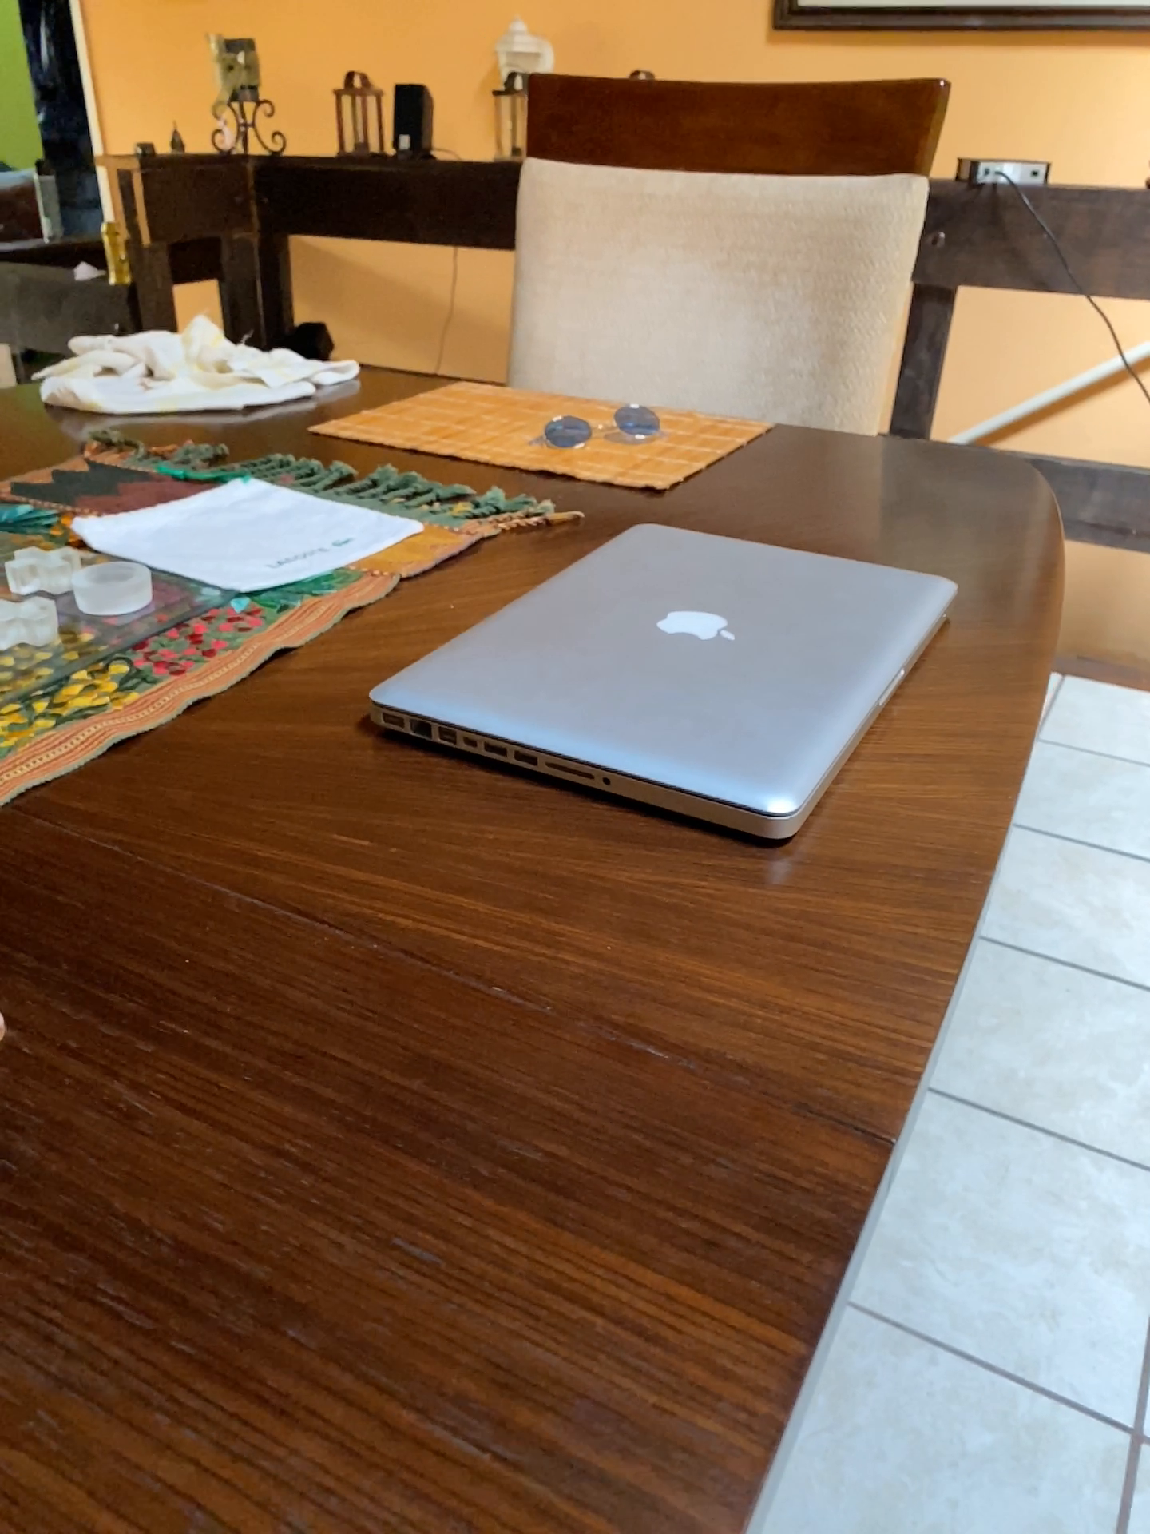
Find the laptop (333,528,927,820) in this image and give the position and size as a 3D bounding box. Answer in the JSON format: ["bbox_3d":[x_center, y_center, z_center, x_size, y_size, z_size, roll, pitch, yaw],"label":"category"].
[{"bbox_3d":[0.053,-0.075,0.688,0.232,0.002,0.325,15,32,23],"label":"laptop"}]
